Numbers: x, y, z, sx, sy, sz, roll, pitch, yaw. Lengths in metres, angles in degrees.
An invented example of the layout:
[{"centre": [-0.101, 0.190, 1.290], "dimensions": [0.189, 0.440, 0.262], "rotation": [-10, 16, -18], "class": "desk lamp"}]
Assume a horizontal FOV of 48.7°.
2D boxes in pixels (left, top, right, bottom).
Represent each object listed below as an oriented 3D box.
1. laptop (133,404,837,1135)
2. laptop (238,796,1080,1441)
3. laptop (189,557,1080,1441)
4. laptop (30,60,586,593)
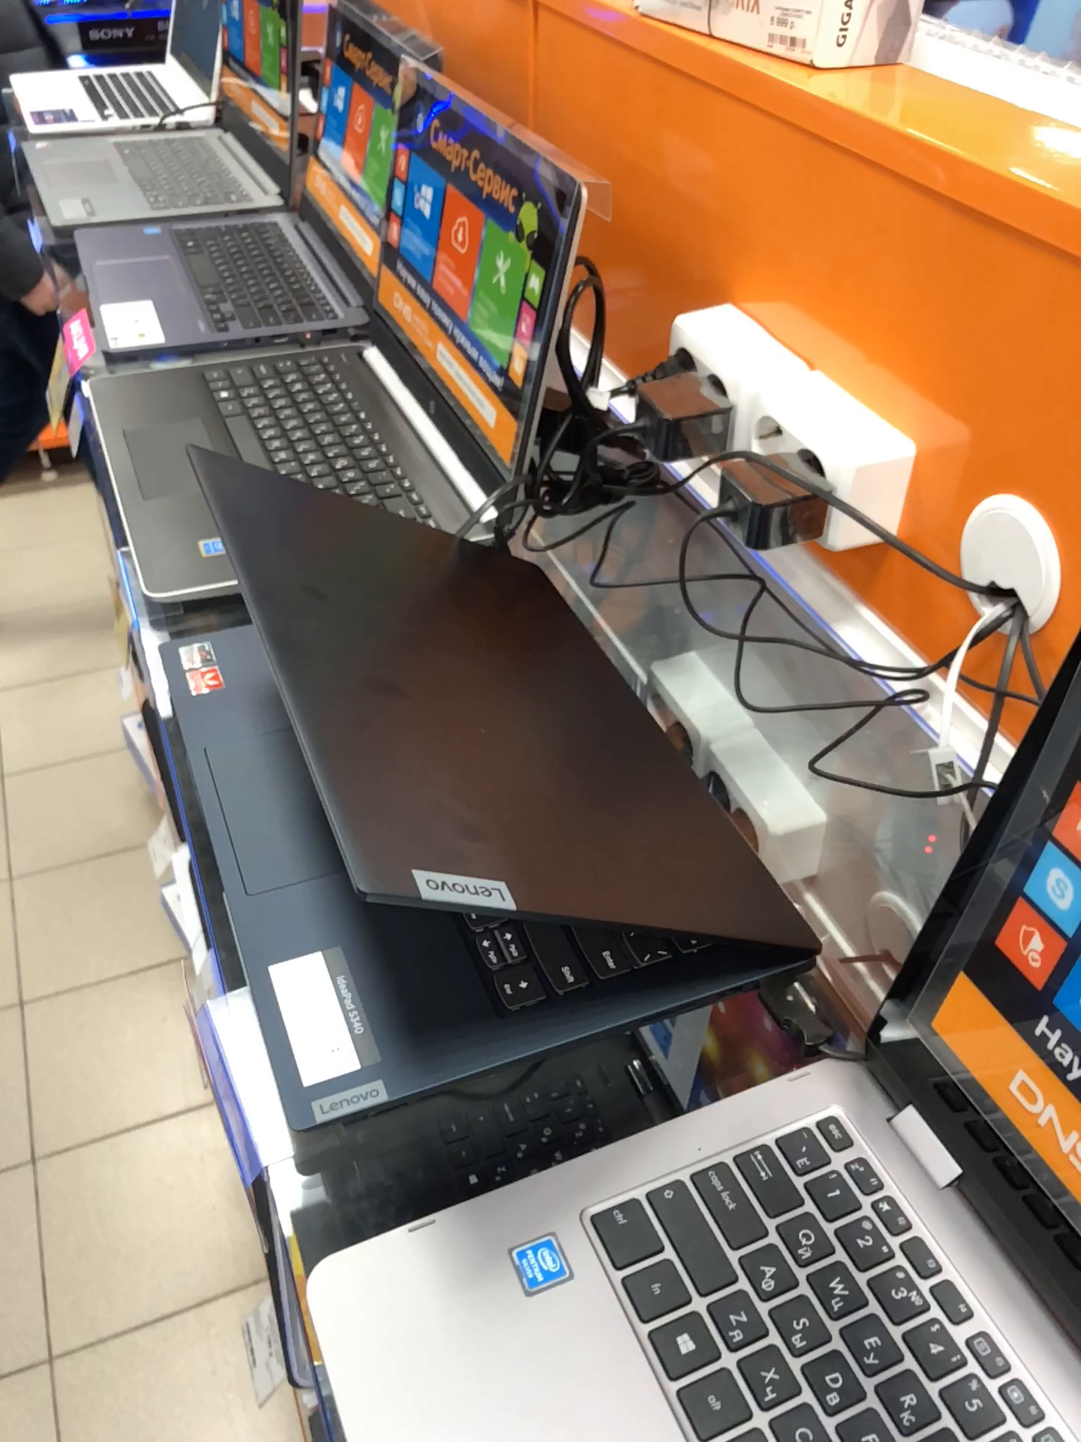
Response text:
[{"centre": [-0.047, -0.012, 0.514], "dimensions": [0.203, 0.108, 0.303], "rotation": [-12, 40, -16], "class": "laptop"}, {"centre": [0.038, 0.262, 0.558], "dimensions": [0.258, 0.226, 0.356], "rotation": [-14, 41, -15], "class": "laptop"}, {"centre": [0.113, 0.166, 0.238], "dimensions": [0.257, 0.202, 0.332], "rotation": [-16, 43, -20], "class": "laptop"}, {"centre": [-0.153, -0.267, 0.757], "dimensions": [0.250, 0.200, 0.303], "rotation": [-13, 42, -17], "class": "laptop"}]
